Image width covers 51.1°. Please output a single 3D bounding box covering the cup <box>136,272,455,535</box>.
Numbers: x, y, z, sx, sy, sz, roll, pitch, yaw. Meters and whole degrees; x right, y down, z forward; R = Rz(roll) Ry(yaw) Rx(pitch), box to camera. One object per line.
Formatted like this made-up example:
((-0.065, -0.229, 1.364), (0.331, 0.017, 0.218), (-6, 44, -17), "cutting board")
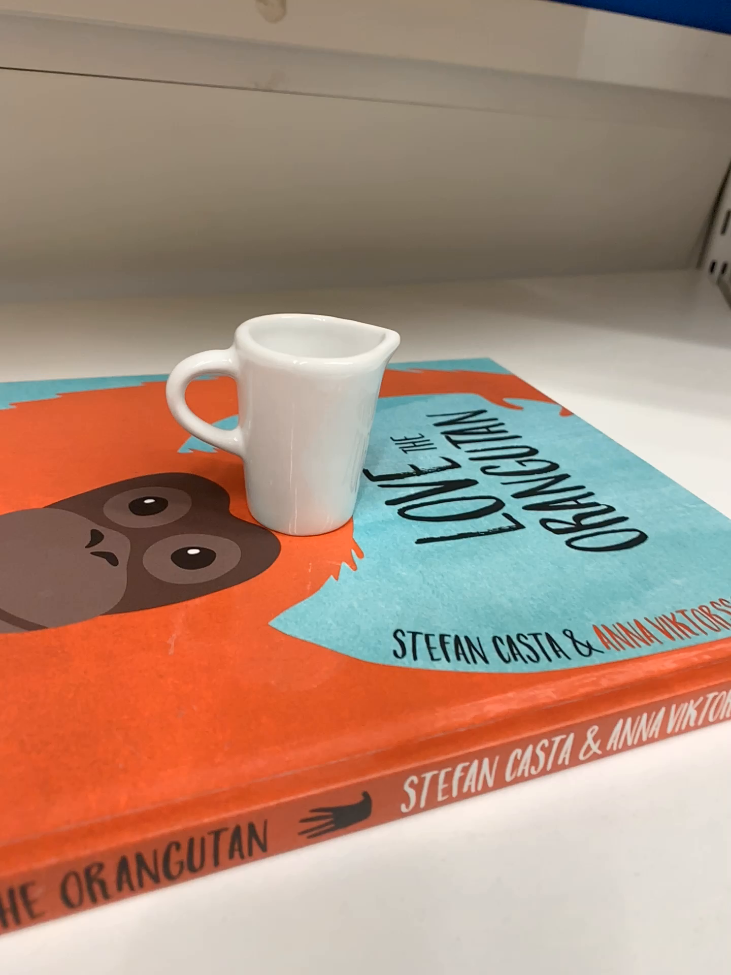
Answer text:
((-0.021, -0.024, 0.199), (0.070, 0.050, 0.050), (-1, 29, -14), "cup")
